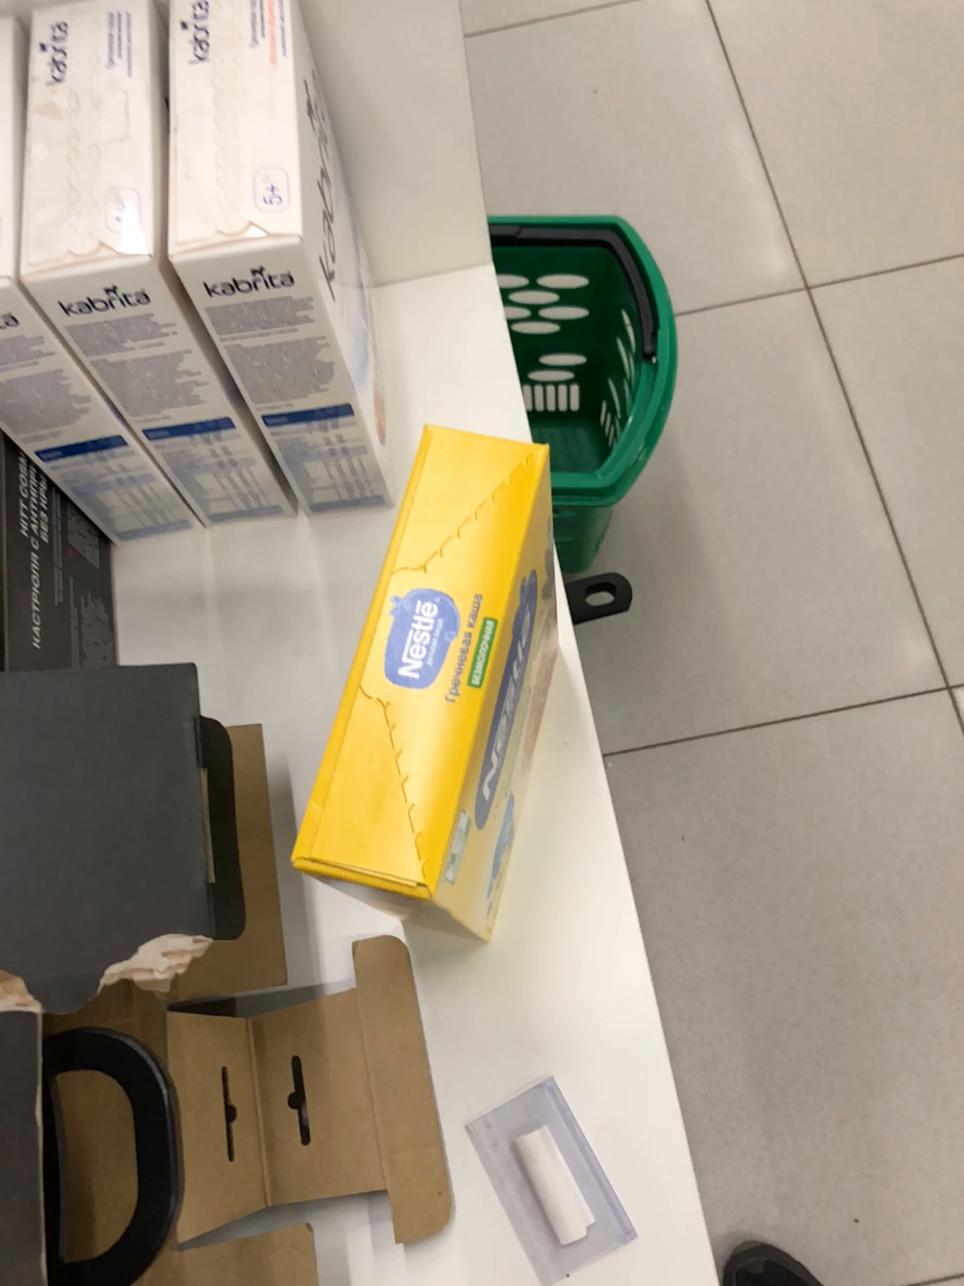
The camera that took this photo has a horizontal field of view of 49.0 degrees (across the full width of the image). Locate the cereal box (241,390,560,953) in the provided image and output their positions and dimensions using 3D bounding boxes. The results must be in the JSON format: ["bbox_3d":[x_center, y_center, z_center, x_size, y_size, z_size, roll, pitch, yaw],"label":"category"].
[{"bbox_3d":[-0.014,0.028,0.398,0.050,0.200,0.150,12,72,9],"label":"cereal box"}]
